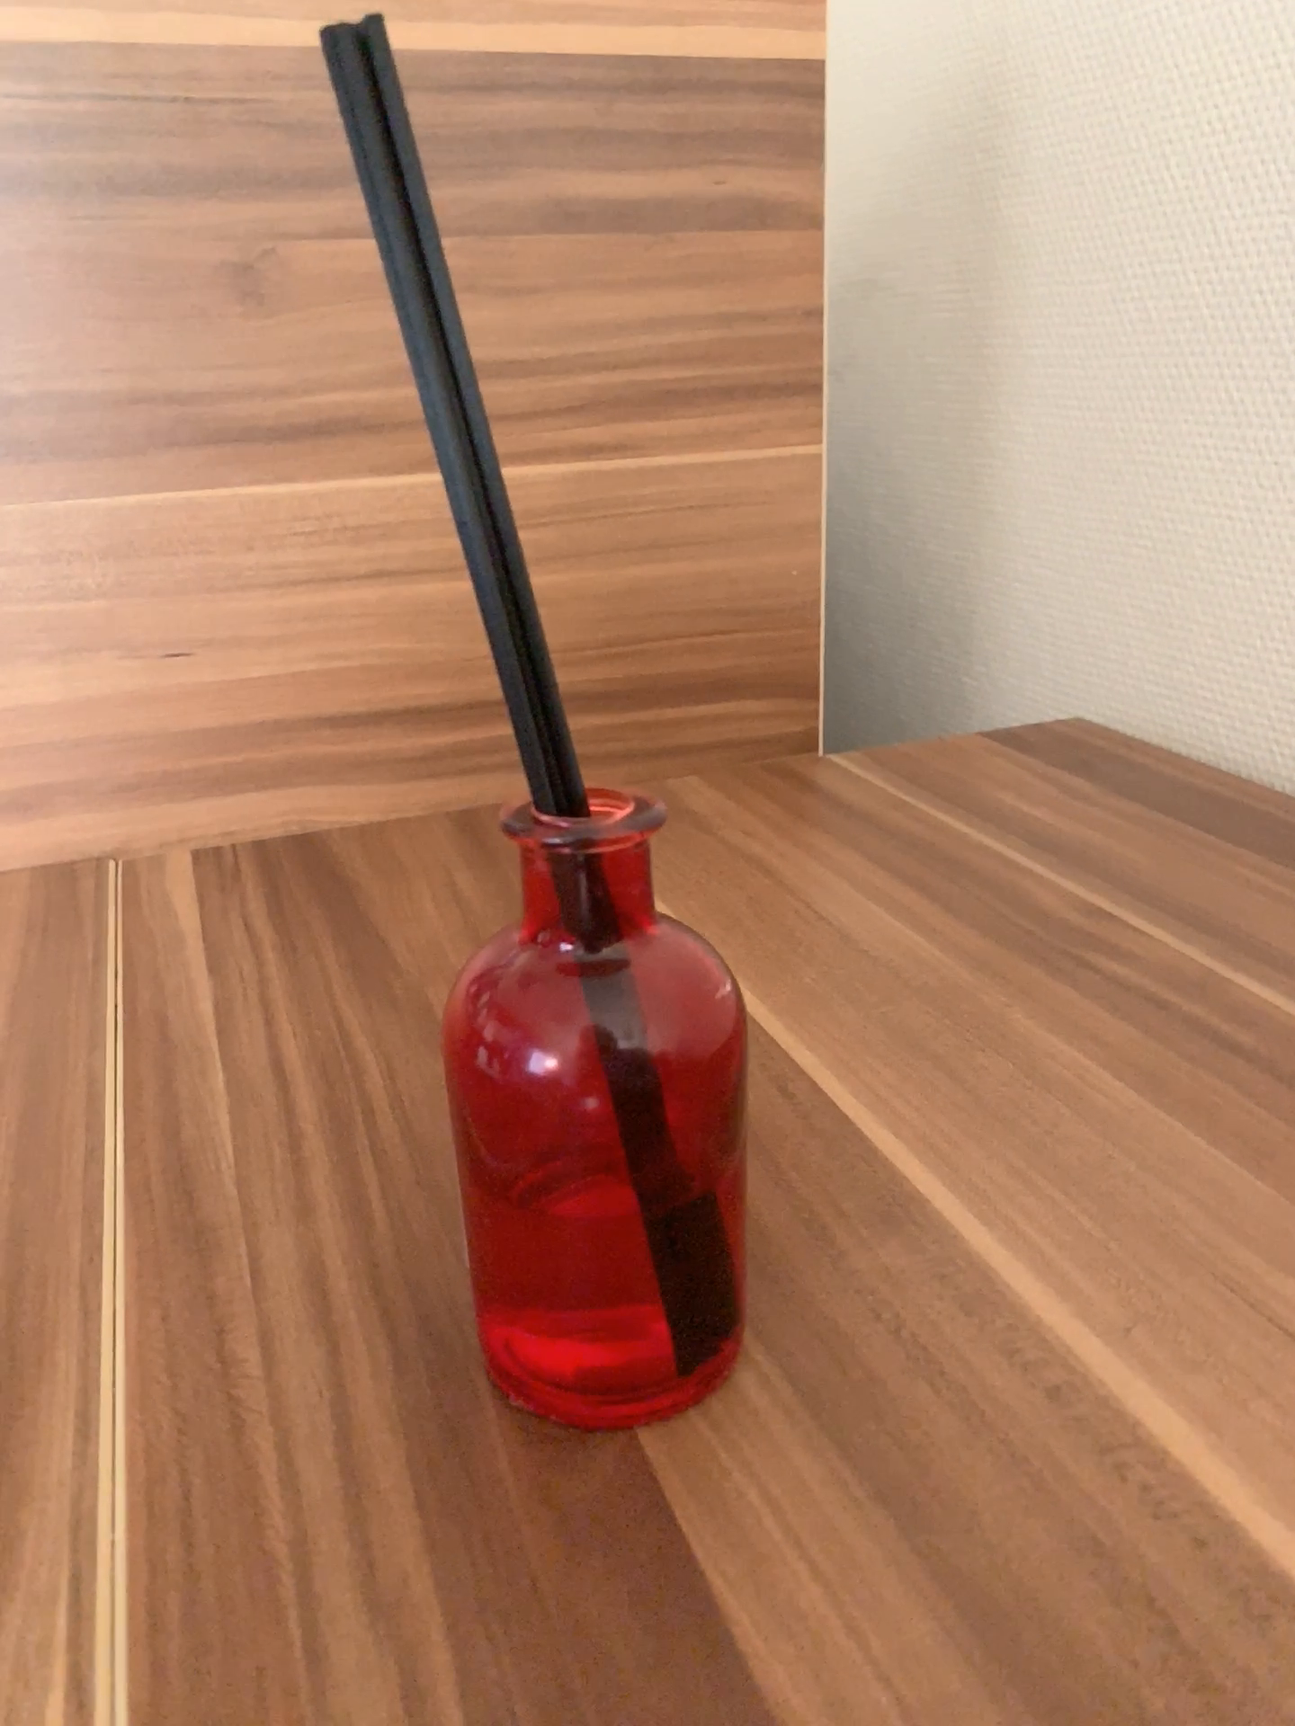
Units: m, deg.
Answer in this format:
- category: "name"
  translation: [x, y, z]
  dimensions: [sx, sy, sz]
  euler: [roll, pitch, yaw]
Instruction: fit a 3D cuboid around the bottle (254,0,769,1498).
- category: "bottle"
  translation: [-0.018, -0.011, 0.224]
  dimensions: [0.060, 0.239, 0.050]
  euler: [-8, 22, -14]
